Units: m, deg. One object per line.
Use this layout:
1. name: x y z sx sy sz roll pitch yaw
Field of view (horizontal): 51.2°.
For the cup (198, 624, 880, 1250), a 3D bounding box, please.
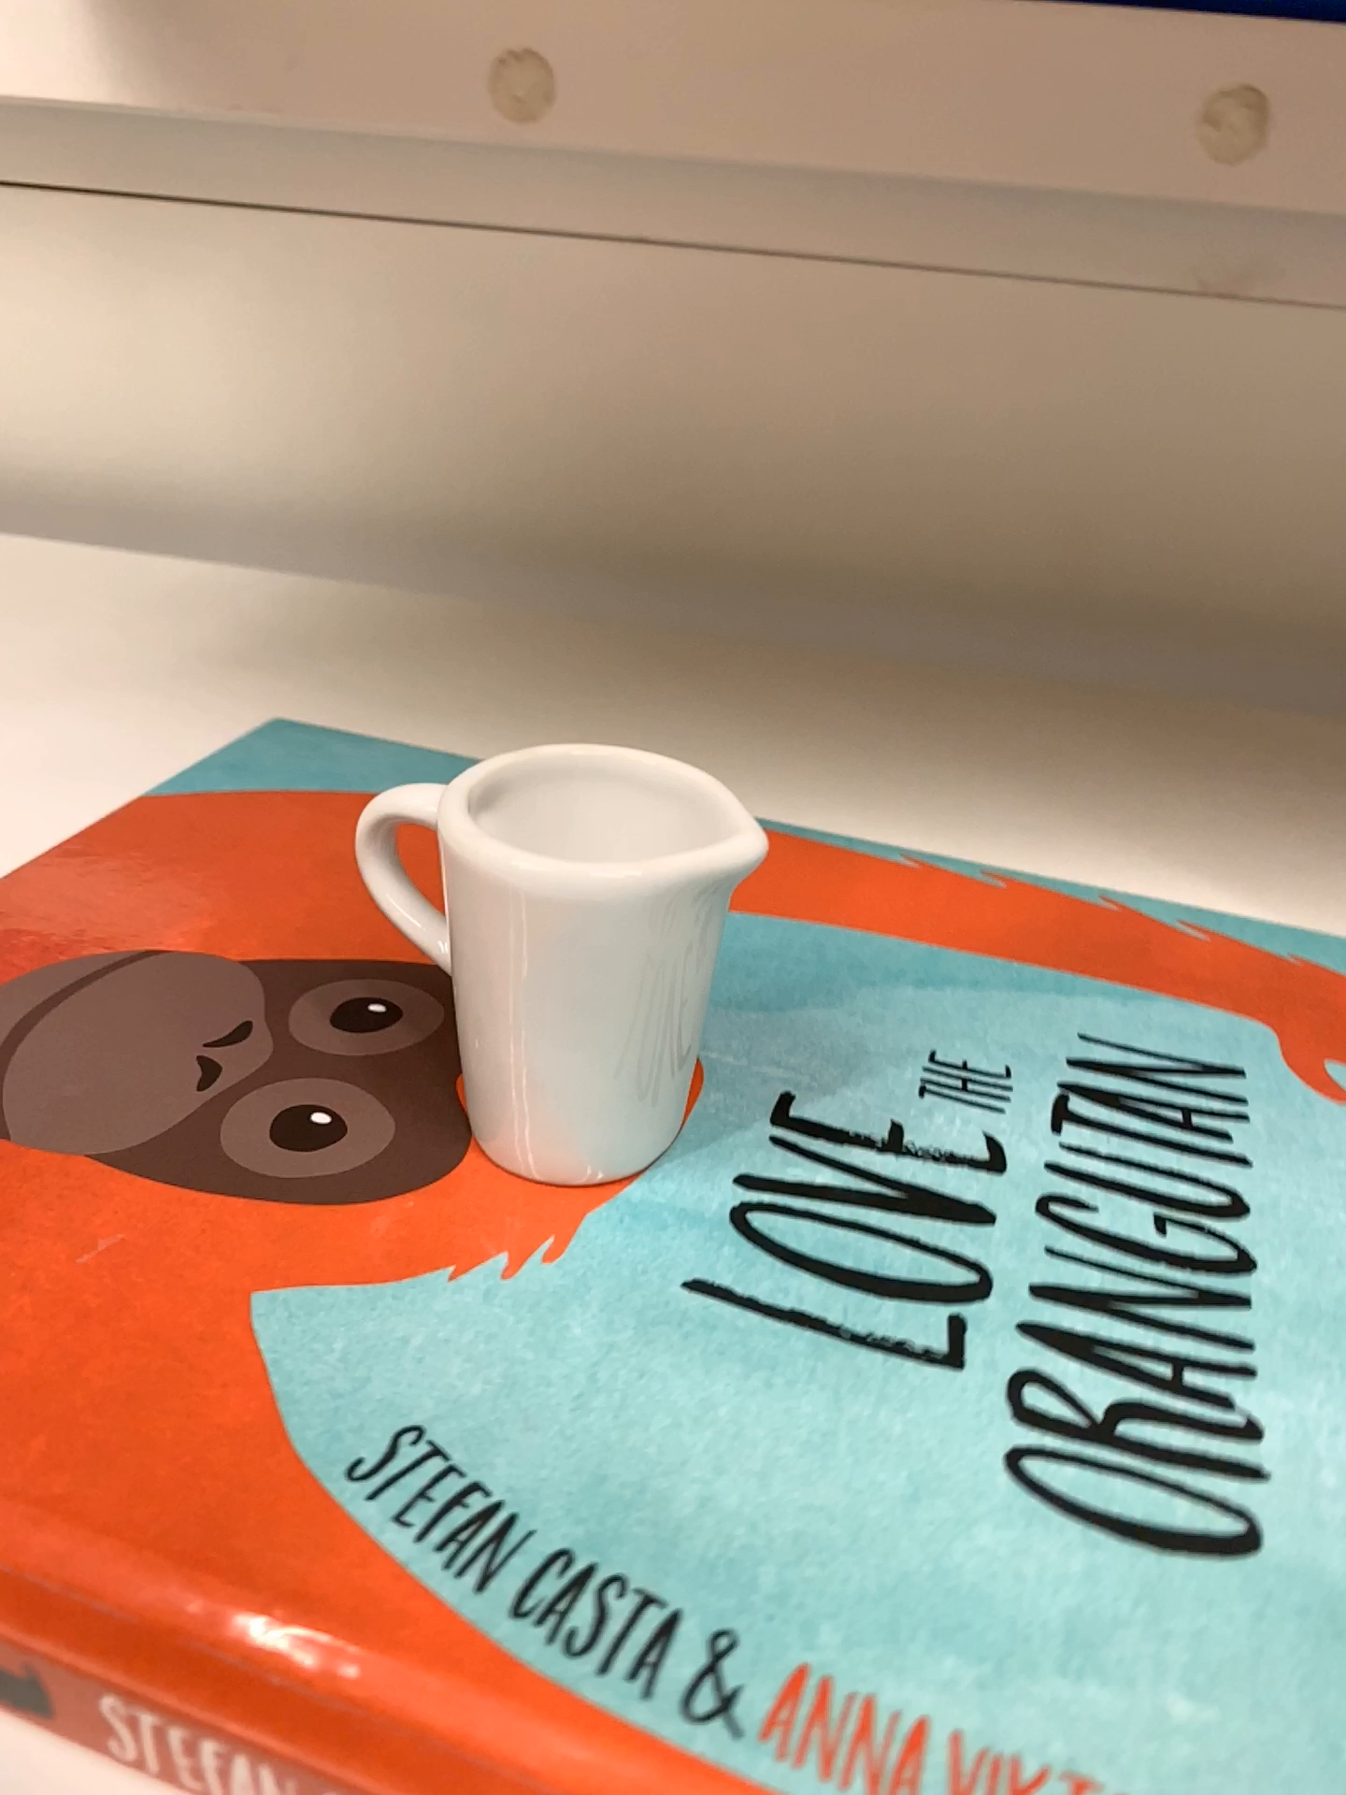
1. cup: -0.017 0.000 0.189 0.070 0.050 0.050 18 31 23
